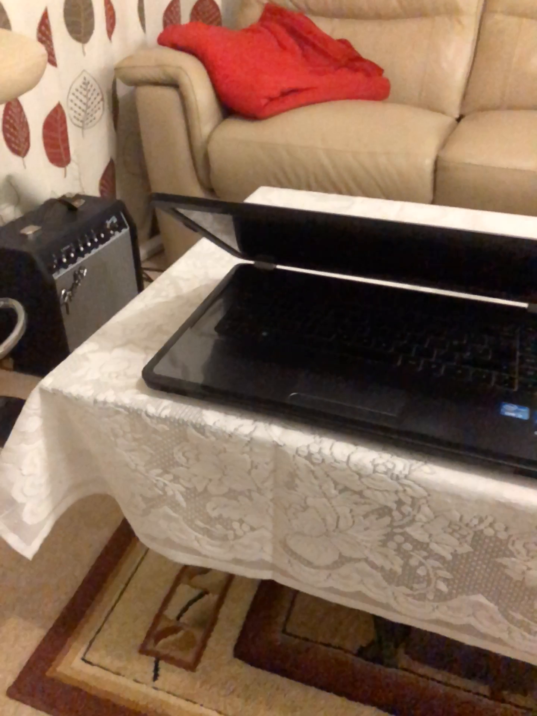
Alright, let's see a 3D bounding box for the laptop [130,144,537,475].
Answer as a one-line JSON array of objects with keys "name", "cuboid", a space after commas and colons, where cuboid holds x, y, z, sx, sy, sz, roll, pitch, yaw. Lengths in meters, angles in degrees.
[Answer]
[{"name": "laptop", "cuboid": [0.101, -0.074, 0.529, 0.360, 0.139, 0.239, 11, 37, 18]}]
